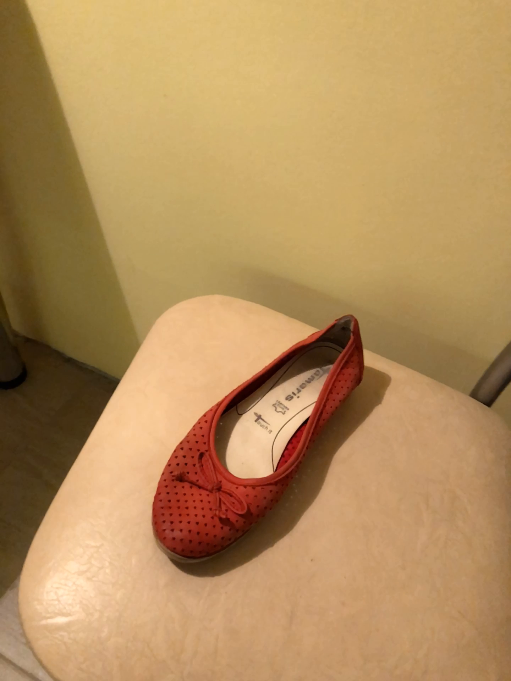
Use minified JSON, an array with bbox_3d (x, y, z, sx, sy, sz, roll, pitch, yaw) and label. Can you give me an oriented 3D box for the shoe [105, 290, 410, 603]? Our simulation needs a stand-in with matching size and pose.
[{"bbox_3d":[0.012,0.070,0.462,0.100,0.080,0.251,35,52,22],"label":"shoe"}]
